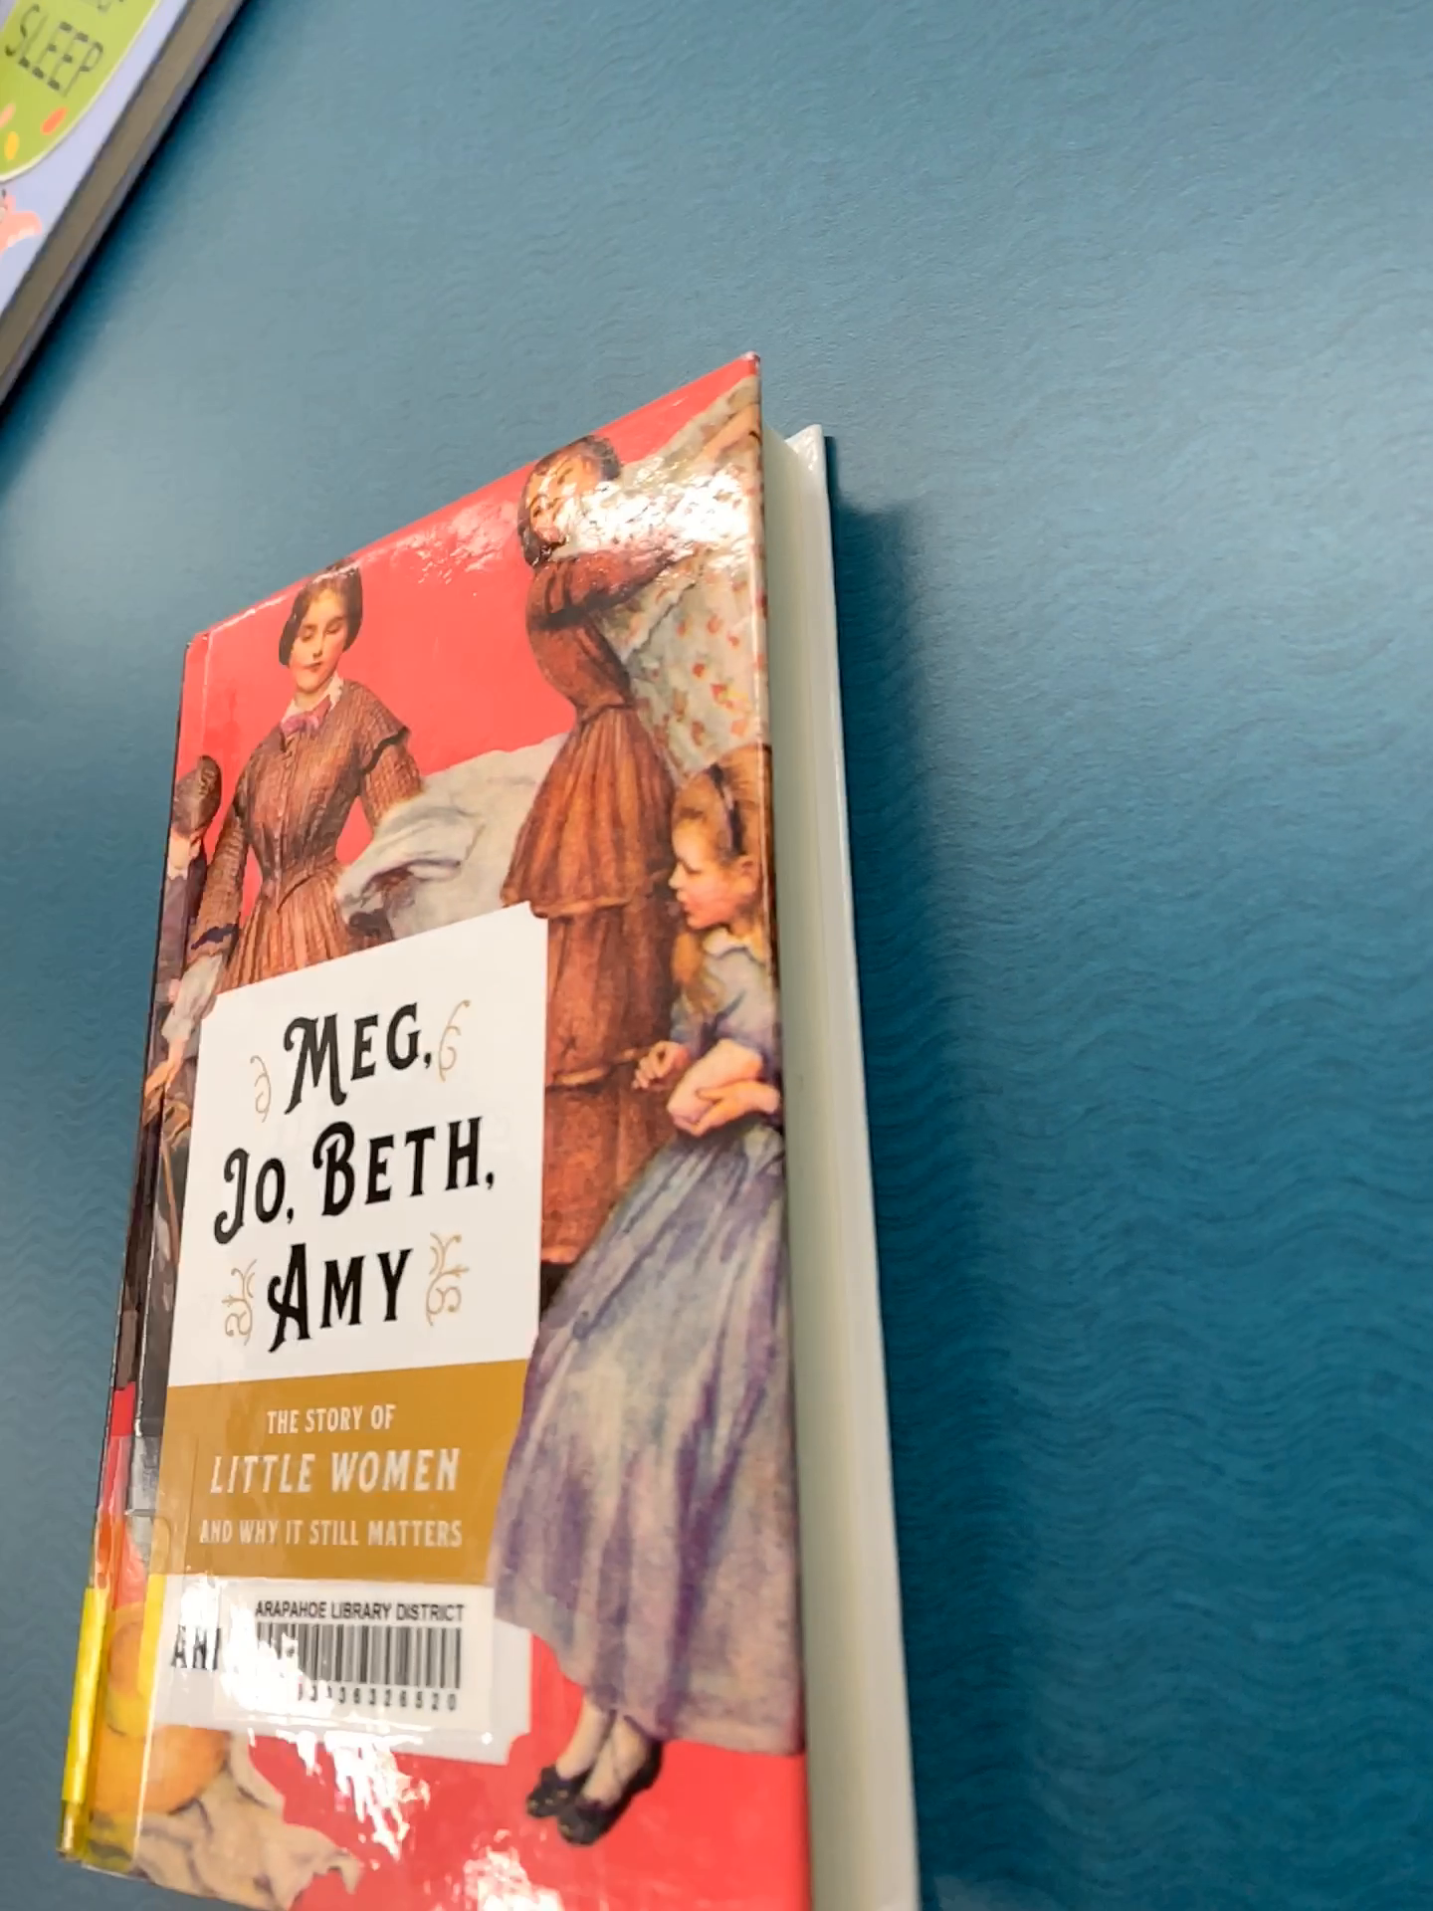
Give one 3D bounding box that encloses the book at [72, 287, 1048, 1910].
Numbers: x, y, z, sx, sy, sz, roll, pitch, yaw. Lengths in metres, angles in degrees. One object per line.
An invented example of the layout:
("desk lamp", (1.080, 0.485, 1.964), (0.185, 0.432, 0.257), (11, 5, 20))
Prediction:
("book", (-0.033, 0.026, 0.236), (0.141, 0.040, 0.220), (-15, 68, 33))
